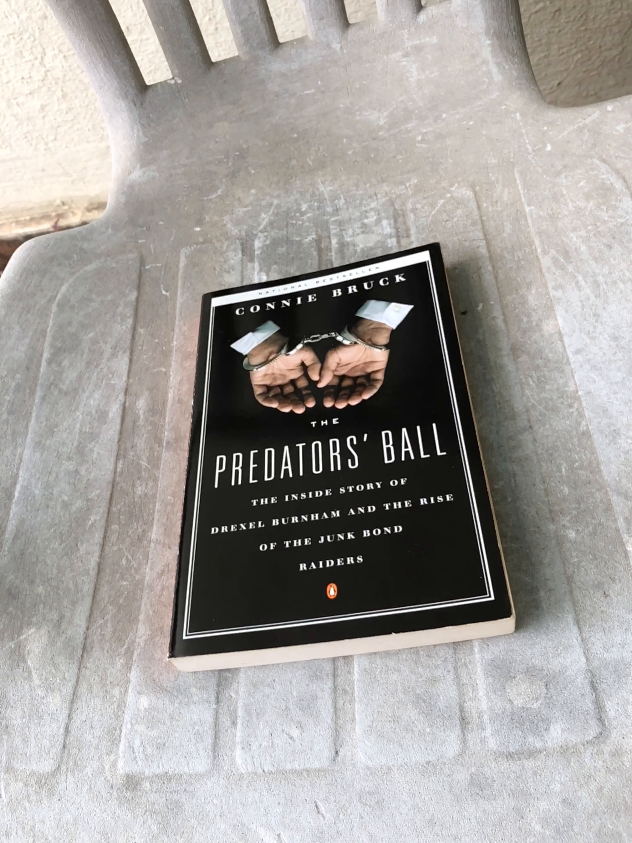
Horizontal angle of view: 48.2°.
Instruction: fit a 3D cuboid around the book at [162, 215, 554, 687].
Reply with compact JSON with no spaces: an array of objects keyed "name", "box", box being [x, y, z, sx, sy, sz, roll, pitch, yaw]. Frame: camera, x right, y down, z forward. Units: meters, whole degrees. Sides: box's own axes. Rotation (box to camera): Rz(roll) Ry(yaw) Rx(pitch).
[{"name":"book","box":[0.011,0.001,0.321,0.140,0.030,0.210,-10,53,11]}]
